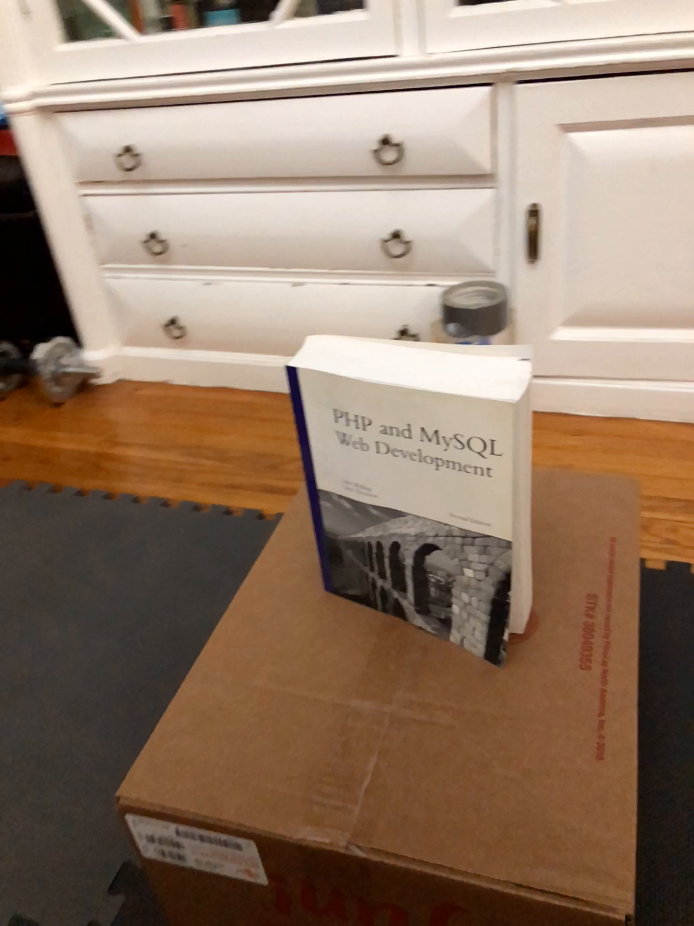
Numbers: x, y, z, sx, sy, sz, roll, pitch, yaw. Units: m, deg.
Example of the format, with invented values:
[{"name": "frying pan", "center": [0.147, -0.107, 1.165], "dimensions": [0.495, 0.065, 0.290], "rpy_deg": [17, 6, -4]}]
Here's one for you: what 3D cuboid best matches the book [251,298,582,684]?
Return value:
[{"name": "book", "center": [0.061, 0.021, 0.579], "dimensions": [0.200, 0.259, 0.090], "rpy_deg": [9, 38, 25]}]
